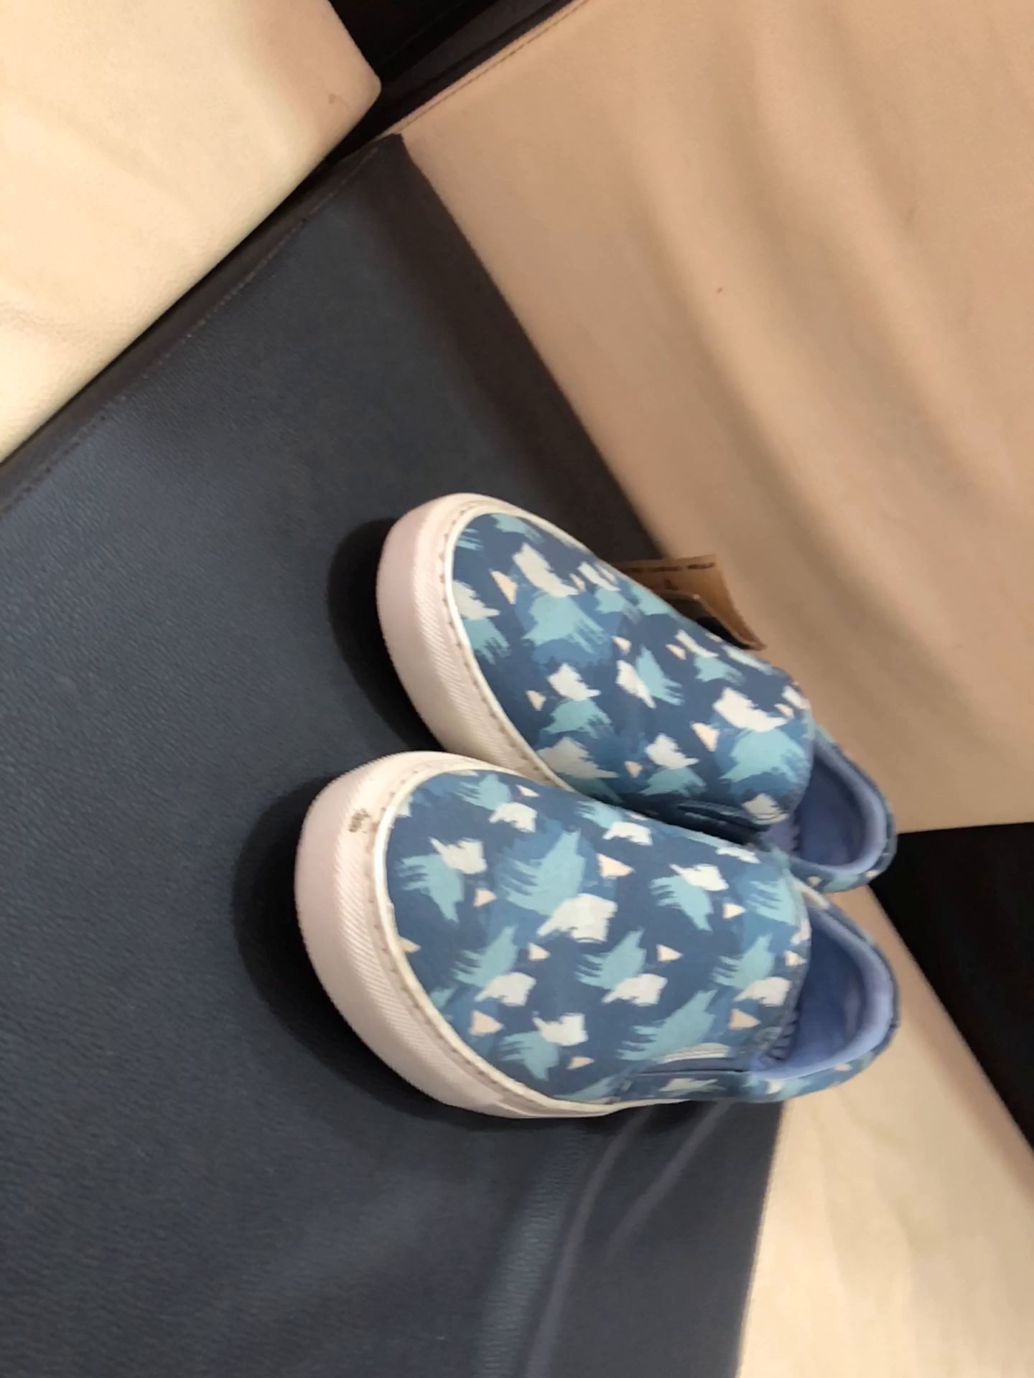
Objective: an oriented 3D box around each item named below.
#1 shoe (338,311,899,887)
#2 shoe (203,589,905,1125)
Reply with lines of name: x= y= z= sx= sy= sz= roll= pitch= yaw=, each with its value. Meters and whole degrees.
shoe: x=0.062 y=-0.009 z=0.438 sx=0.282 sy=0.060 sz=0.110 roll=28 pitch=58 yaw=-46
shoe: x=0.040 y=0.083 z=0.411 sx=0.282 sy=0.089 sz=0.120 roll=28 pitch=58 yaw=-46
